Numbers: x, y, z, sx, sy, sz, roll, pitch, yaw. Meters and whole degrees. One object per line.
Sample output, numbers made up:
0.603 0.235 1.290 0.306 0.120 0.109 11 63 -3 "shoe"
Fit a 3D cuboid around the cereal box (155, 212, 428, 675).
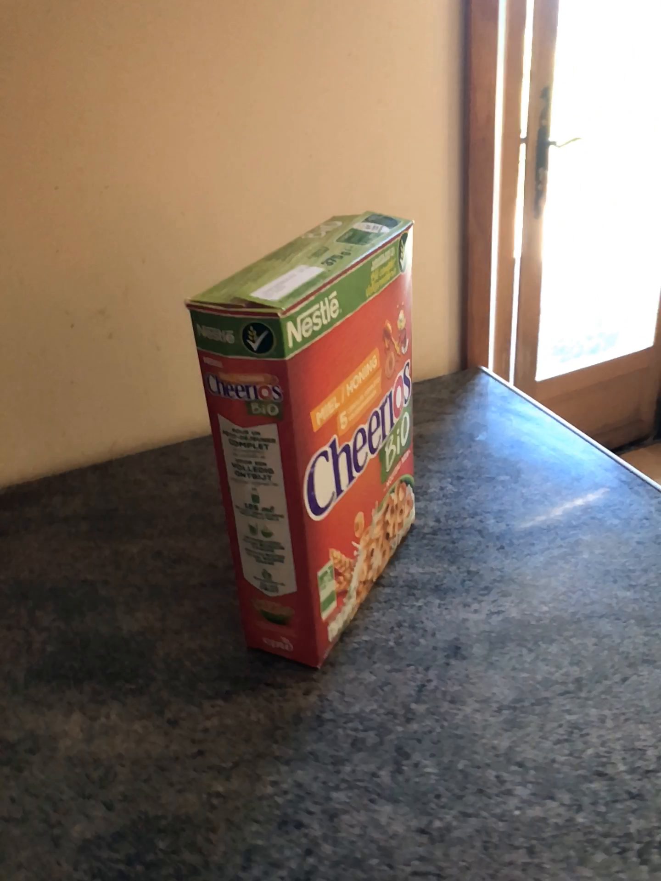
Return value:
-0.005 -0.008 0.523 0.080 0.259 0.201 10 33 26 "cereal box"
